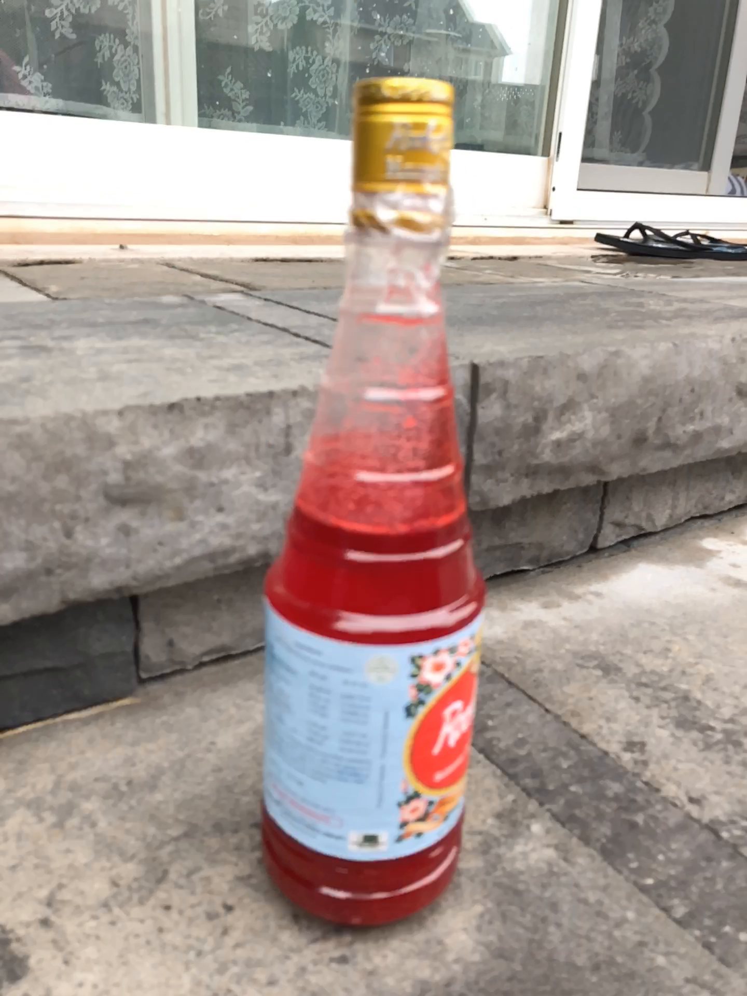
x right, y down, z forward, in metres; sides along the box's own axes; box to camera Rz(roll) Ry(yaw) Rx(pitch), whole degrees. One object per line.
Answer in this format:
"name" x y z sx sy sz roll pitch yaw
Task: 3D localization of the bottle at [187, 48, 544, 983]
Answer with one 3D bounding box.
"bottle" -0.001 0.012 0.277 0.080 0.279 0.090 7 21 13
